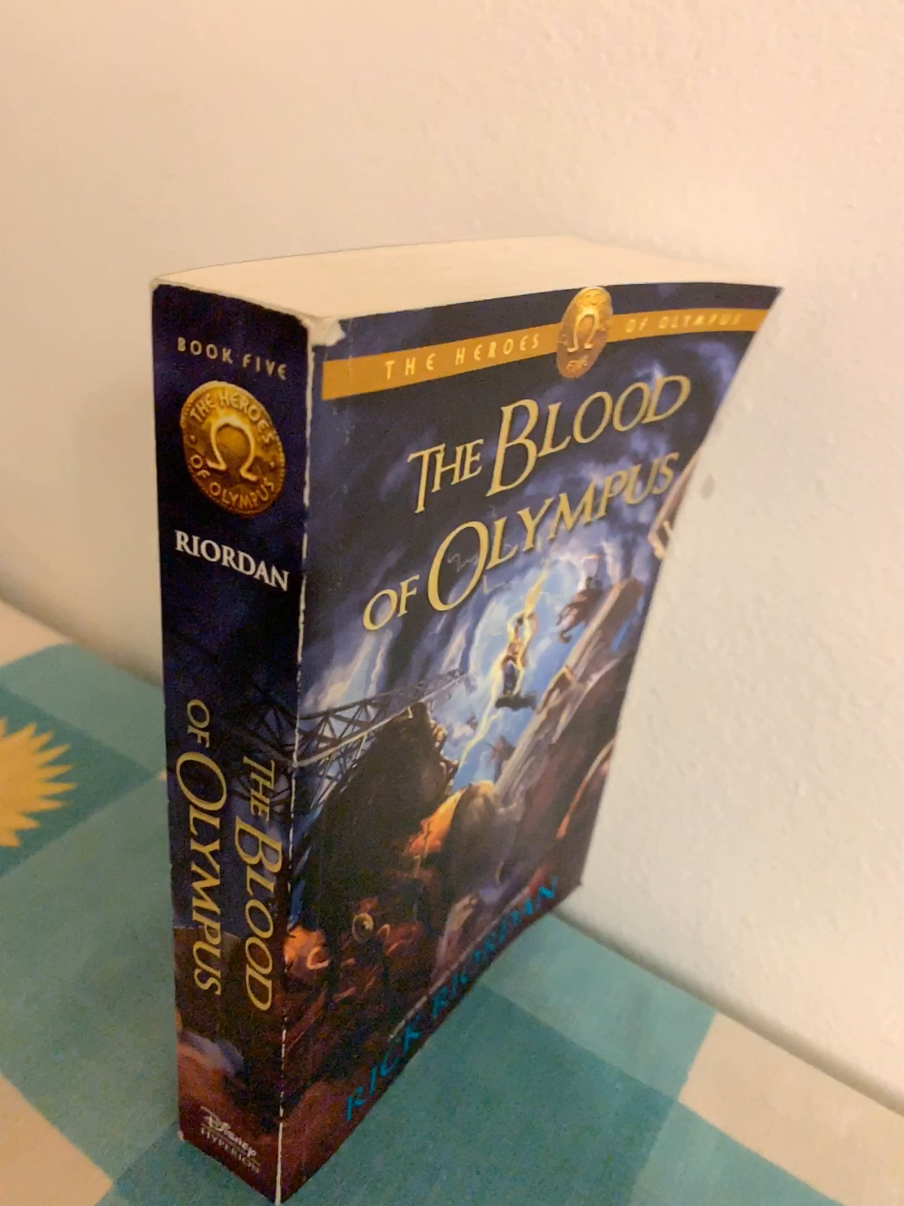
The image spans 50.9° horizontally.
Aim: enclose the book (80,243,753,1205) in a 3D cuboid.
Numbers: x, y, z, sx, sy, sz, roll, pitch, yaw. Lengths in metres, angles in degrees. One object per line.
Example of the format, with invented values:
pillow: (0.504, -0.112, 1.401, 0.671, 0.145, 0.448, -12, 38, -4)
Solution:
book: (-0.003, 0.016, 0.221, 0.051, 0.180, 0.151, 23, 29, 27)
